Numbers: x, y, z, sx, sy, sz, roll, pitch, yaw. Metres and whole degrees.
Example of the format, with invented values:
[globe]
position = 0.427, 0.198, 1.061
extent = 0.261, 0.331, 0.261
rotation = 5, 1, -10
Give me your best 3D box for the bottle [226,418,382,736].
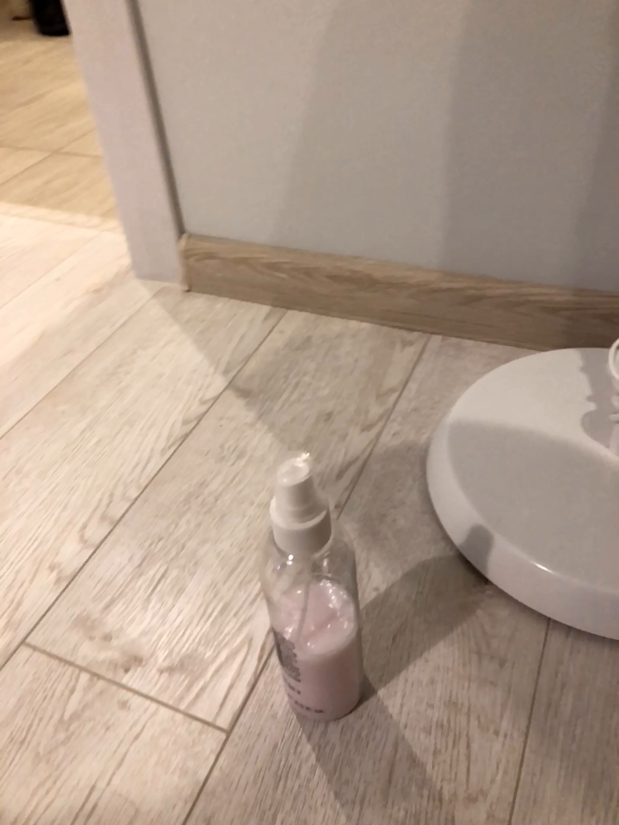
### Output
[bottle]
position = 0.005, 0.094, 0.357
extent = 0.049, 0.183, 0.054
rotation = 14, 45, 21
